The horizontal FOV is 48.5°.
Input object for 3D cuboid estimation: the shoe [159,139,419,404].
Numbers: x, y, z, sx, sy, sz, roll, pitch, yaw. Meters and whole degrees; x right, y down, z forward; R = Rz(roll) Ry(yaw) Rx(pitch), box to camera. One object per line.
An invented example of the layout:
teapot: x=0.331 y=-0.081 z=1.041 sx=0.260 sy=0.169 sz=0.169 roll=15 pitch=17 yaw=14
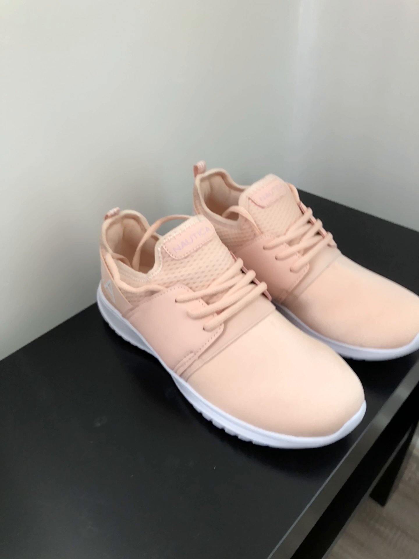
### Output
shoe: x=0.080 y=-0.025 z=0.399 sx=0.241 sy=0.110 sz=0.100 roll=28 pitch=47 yaw=33

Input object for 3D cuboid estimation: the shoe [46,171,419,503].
shoe: x=0.002 y=0.020 z=0.349 sx=0.251 sy=0.110 sz=0.100 roll=28 pitch=47 yaw=33
